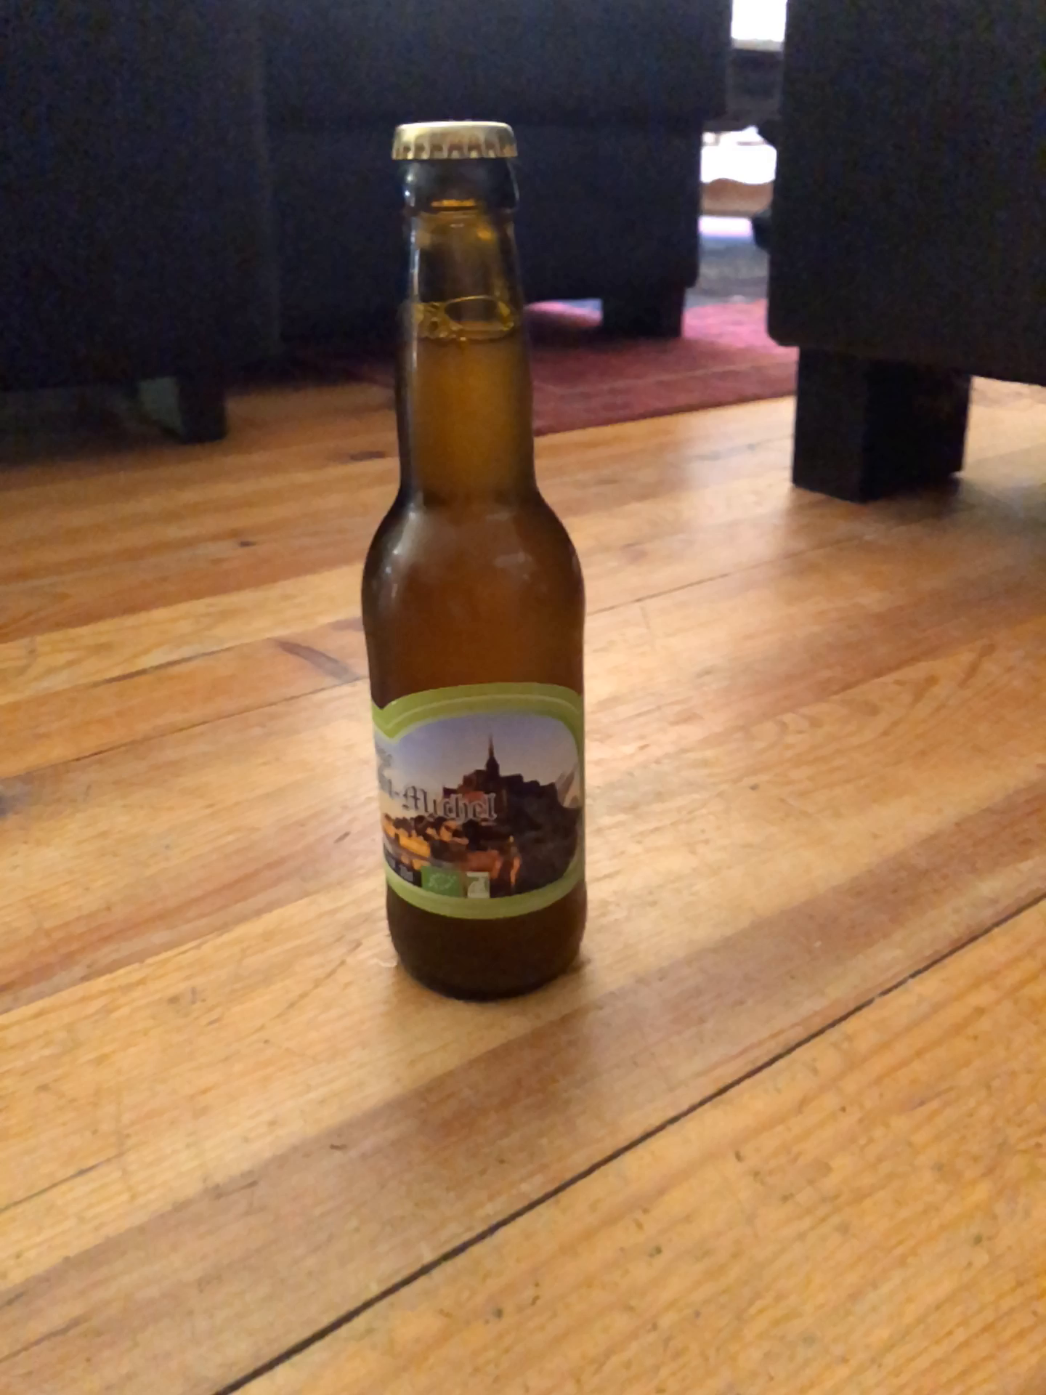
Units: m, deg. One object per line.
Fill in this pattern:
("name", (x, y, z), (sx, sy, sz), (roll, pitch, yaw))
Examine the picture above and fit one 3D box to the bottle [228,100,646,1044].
("bottle", (-0.015, -0.029, 0.307), (0.070, 0.229, 0.070), (-1, 25, 0))
